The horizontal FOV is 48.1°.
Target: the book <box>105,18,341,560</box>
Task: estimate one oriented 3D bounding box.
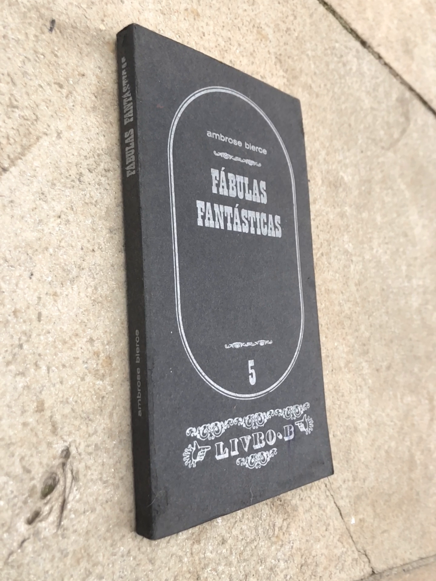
[{"bbox_3d":[0.007,-0.003,0.197,0.105,0.013,0.176,2,83,-42],"label":"book"}]
